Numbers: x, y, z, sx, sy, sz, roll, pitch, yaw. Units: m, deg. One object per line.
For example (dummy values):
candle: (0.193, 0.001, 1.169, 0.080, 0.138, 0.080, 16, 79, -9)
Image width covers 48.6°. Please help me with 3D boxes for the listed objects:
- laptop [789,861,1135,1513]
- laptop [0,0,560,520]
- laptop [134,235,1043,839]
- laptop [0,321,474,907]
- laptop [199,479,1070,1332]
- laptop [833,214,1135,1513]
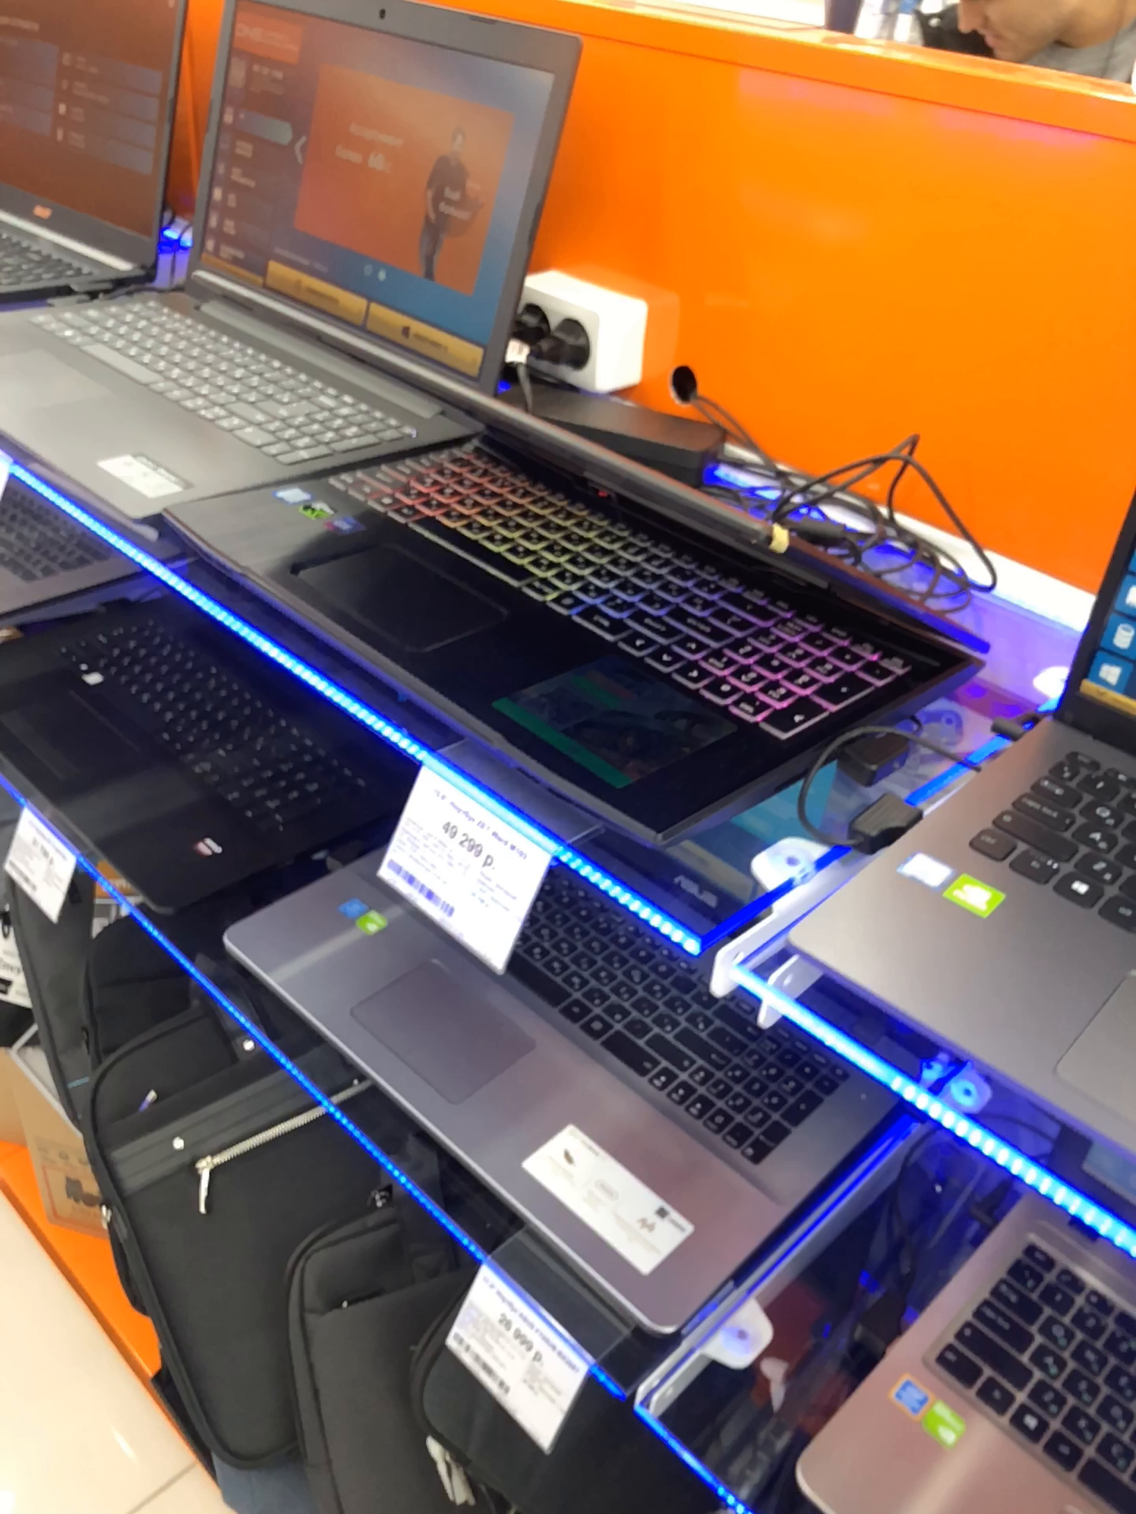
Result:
laptop: (0.317, 0.271, 0.485, 0.230, 0.240, 0.359, -26, 44, -38)
laptop: (-0.245, -0.368, 0.826, 0.359, 0.228, 0.319, 32, 41, 32)
laptop: (-0.004, -0.144, 0.630, 0.365, 0.121, 0.244, 33, 42, 33)
laptop: (-0.321, -0.143, 1.002, 0.273, 0.270, 0.407, -25, 45, -39)
laptop: (0.018, 0.049, 0.773, 0.395, 0.256, 0.287, 32, 43, 33)
laptop: (0.297, 0.003, 0.372, 0.352, 0.216, 0.231, 29, 40, 31)
